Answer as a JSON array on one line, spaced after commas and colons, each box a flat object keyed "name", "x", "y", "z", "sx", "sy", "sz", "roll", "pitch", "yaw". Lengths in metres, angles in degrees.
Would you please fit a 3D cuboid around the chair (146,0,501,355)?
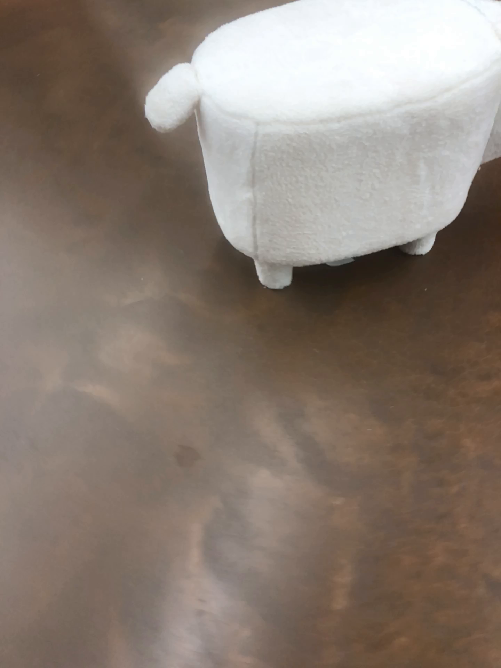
[{"name": "chair", "x": 0.194, "y": -0.297, "z": 0.887, "sx": 0.630, "sy": 0.349, "sz": 0.441, "roll": -10, "pitch": 53, "yaw": -2}]
